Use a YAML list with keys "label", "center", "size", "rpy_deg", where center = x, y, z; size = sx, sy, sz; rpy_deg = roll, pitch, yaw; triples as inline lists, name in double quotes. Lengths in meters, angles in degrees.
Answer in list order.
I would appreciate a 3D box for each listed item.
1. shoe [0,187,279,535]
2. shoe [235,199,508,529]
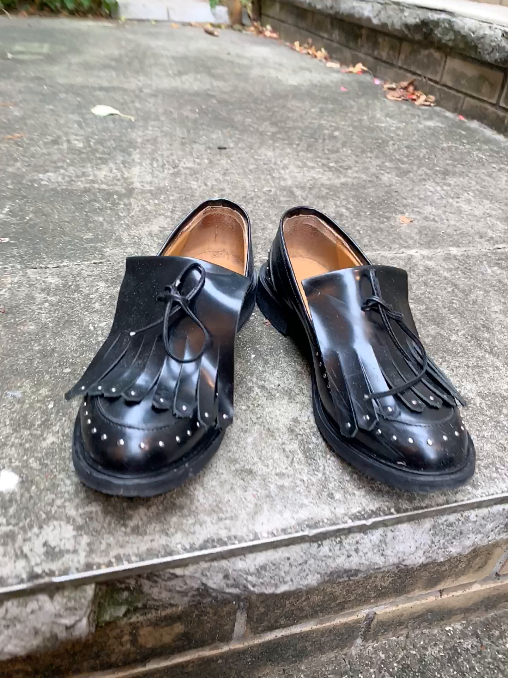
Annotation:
- label: "shoe"
  center: [-0.049, -0.013, 0.338]
  size: [0.093, 0.080, 0.247]
  rpy_deg: [9, 35, 5]
- label: "shoe"
  center: [0.069, -0.010, 0.357]
  size: [0.094, 0.080, 0.249]
  rpy_deg: [-5, 37, -18]
